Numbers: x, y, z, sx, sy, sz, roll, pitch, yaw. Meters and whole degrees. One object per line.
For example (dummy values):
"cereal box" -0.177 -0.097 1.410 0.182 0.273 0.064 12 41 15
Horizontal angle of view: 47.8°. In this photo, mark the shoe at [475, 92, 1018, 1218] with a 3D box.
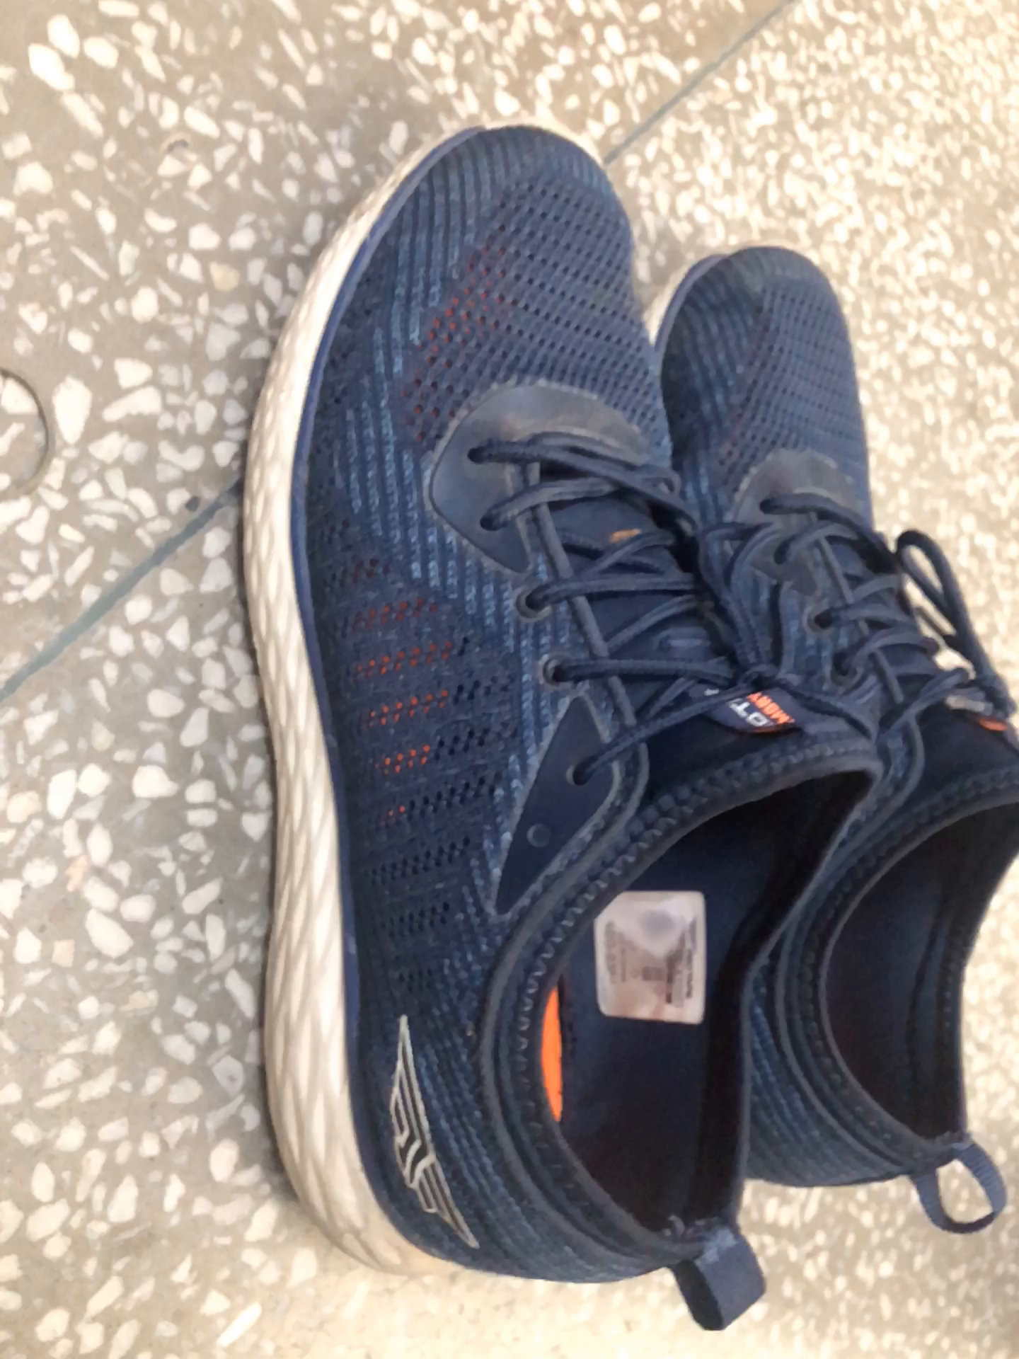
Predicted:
"shoe" 0.075 -0.003 0.331 0.124 0.099 0.249 5 86 -40

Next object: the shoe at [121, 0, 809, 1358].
"shoe" -0.009 -0.003 0.260 0.114 0.099 0.249 3 87 -40
